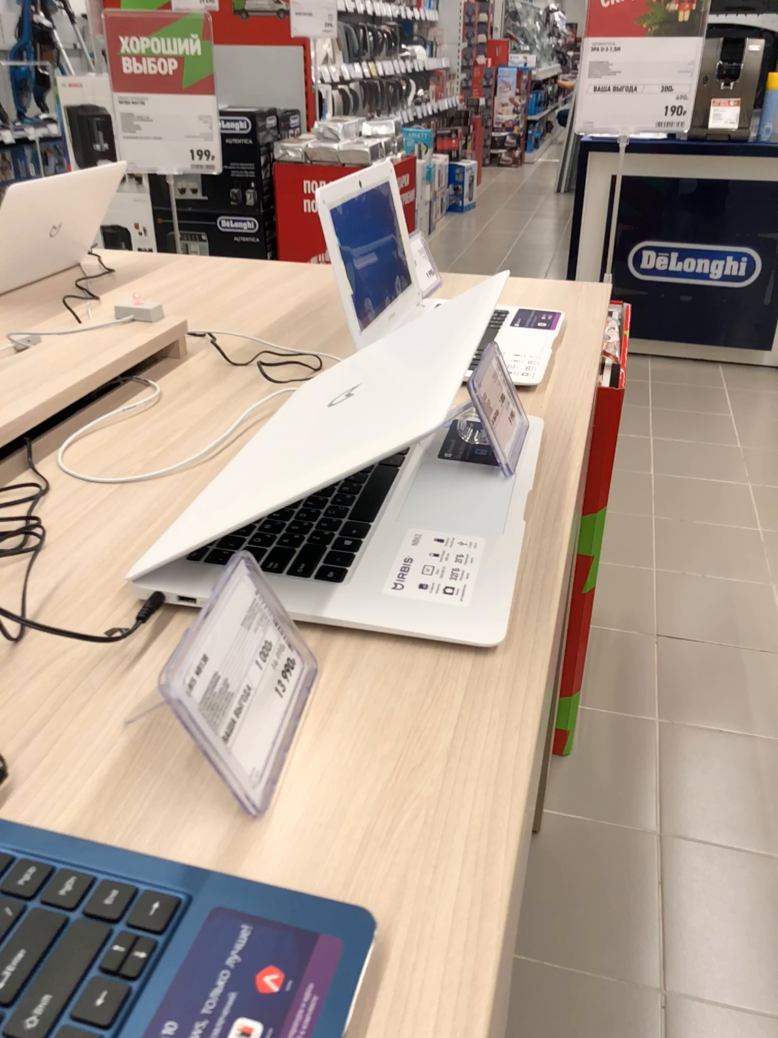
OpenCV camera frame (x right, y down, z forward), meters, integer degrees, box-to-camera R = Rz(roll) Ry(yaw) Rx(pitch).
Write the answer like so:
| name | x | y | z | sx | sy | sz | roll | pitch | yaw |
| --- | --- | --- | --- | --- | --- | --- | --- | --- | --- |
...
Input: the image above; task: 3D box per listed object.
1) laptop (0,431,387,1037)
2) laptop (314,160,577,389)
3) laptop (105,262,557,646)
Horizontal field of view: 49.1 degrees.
| name | x | y | z | sx | sy | sz | roll | pitch | yaw |
| --- | --- | --- | --- | --- | --- | --- | --- | --- | --- |
| laptop | -0.195 | 0.126 | 0.183 | 0.318 | 0.162 | 0.311 | 7 | 28 | 12 |
| laptop | 0.072 | -0.286 | 0.948 | 0.230 | 0.168 | 0.264 | 9 | 30 | 14 |
| laptop | -0.006 | -0.079 | 0.616 | 0.223 | 0.115 | 0.352 | 8 | 29 | 10 |
